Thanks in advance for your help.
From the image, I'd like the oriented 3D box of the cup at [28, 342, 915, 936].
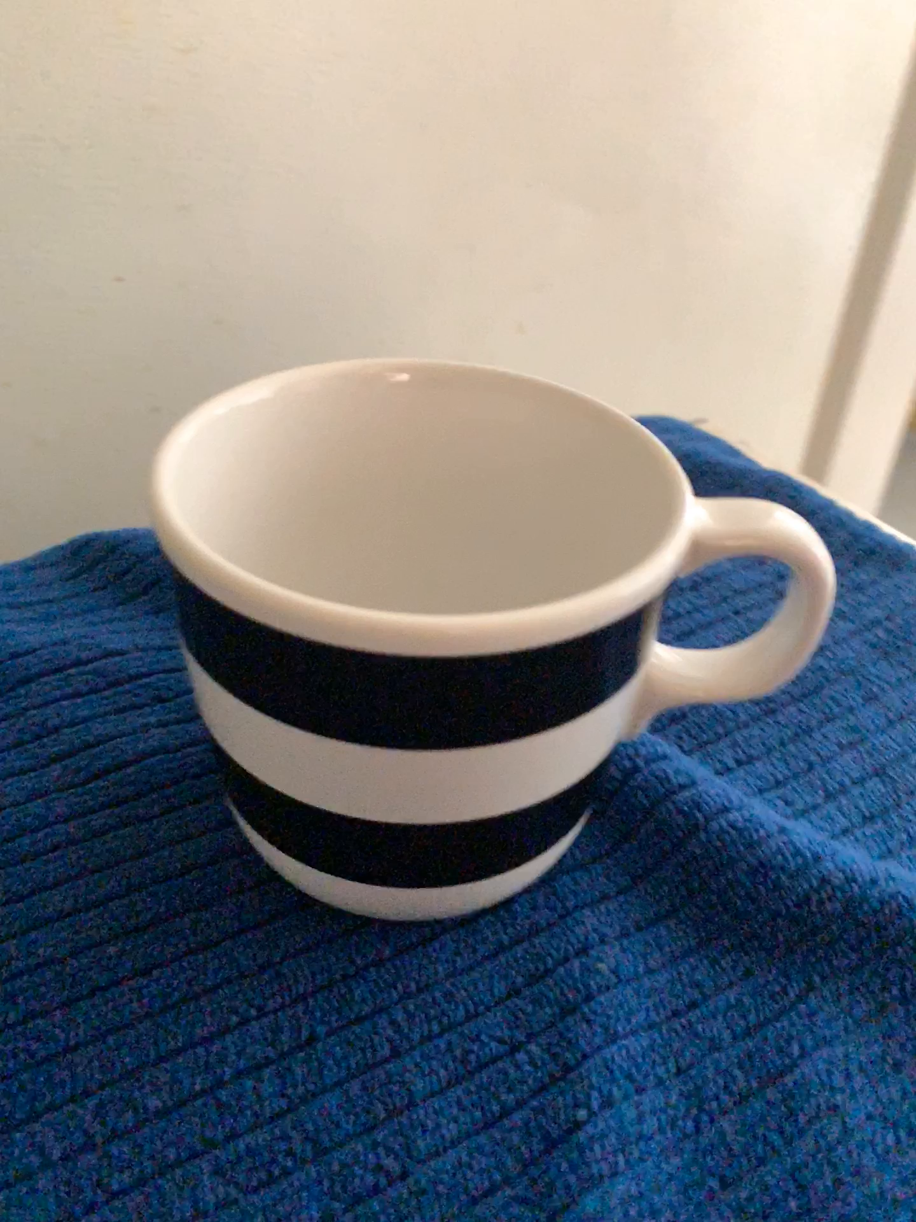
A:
[{"bbox_3d":[0.004,0.000,0.167,0.112,0.057,0.085,3,38,1],"label":"cup"}]
